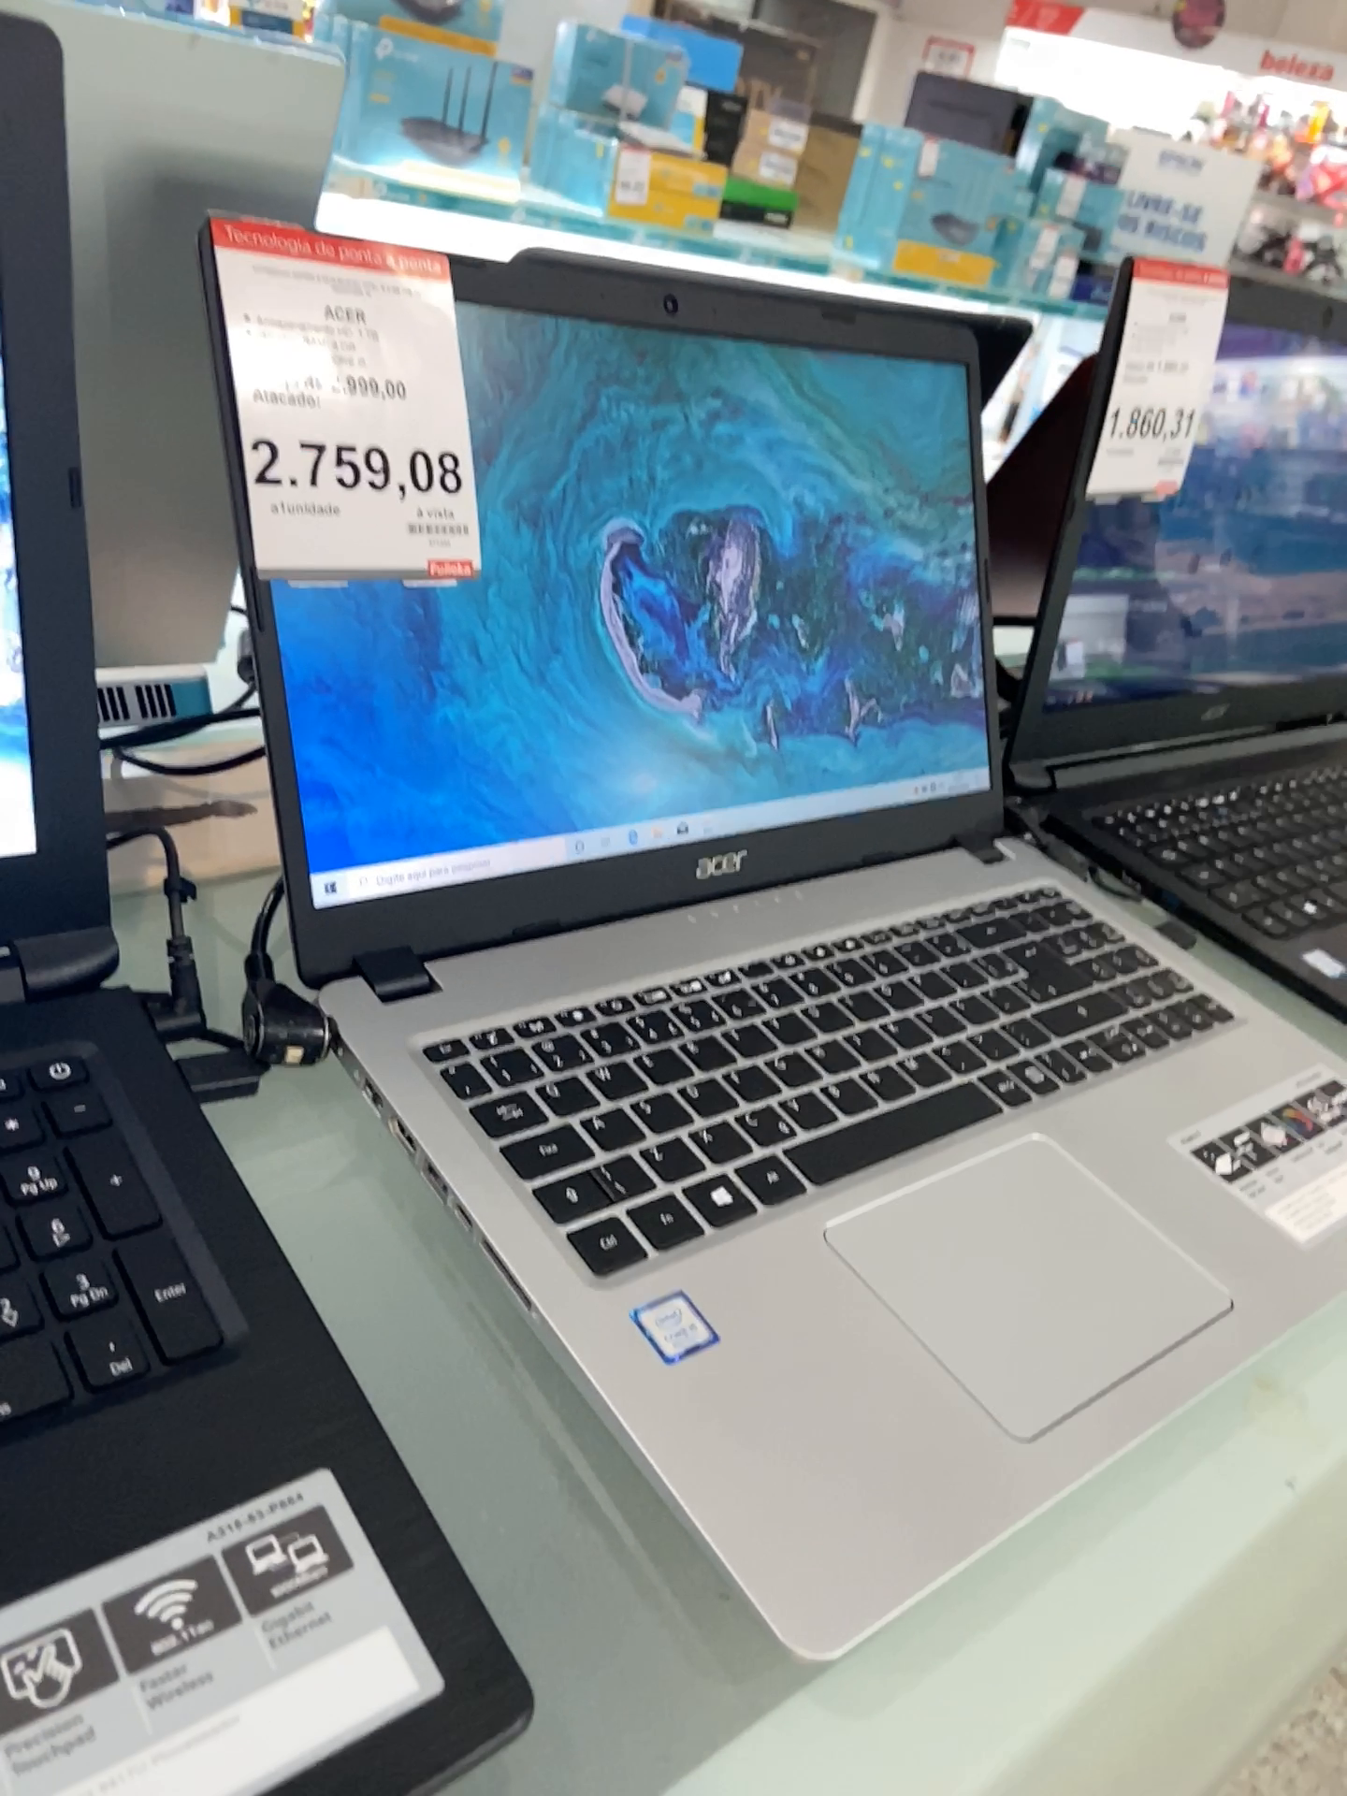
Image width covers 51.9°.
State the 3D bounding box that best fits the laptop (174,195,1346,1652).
[{"bbox_3d":[0.080,-0.055,0.455,0.352,0.198,0.363,-11,39,-38],"label":"laptop"}]
